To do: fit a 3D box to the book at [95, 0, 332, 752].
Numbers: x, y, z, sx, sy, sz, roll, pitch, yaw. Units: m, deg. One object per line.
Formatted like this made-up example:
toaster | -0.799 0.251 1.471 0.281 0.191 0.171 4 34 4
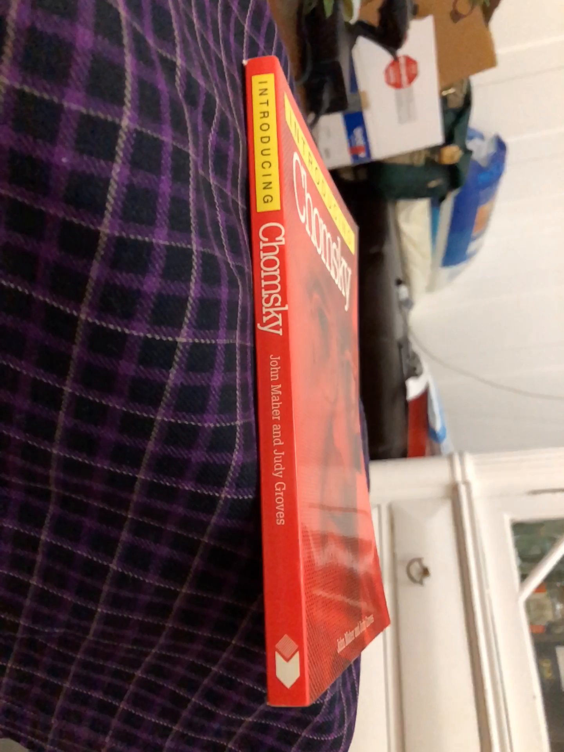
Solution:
book | -0.017 0.003 0.255 0.180 0.020 0.240 36 48 -71
